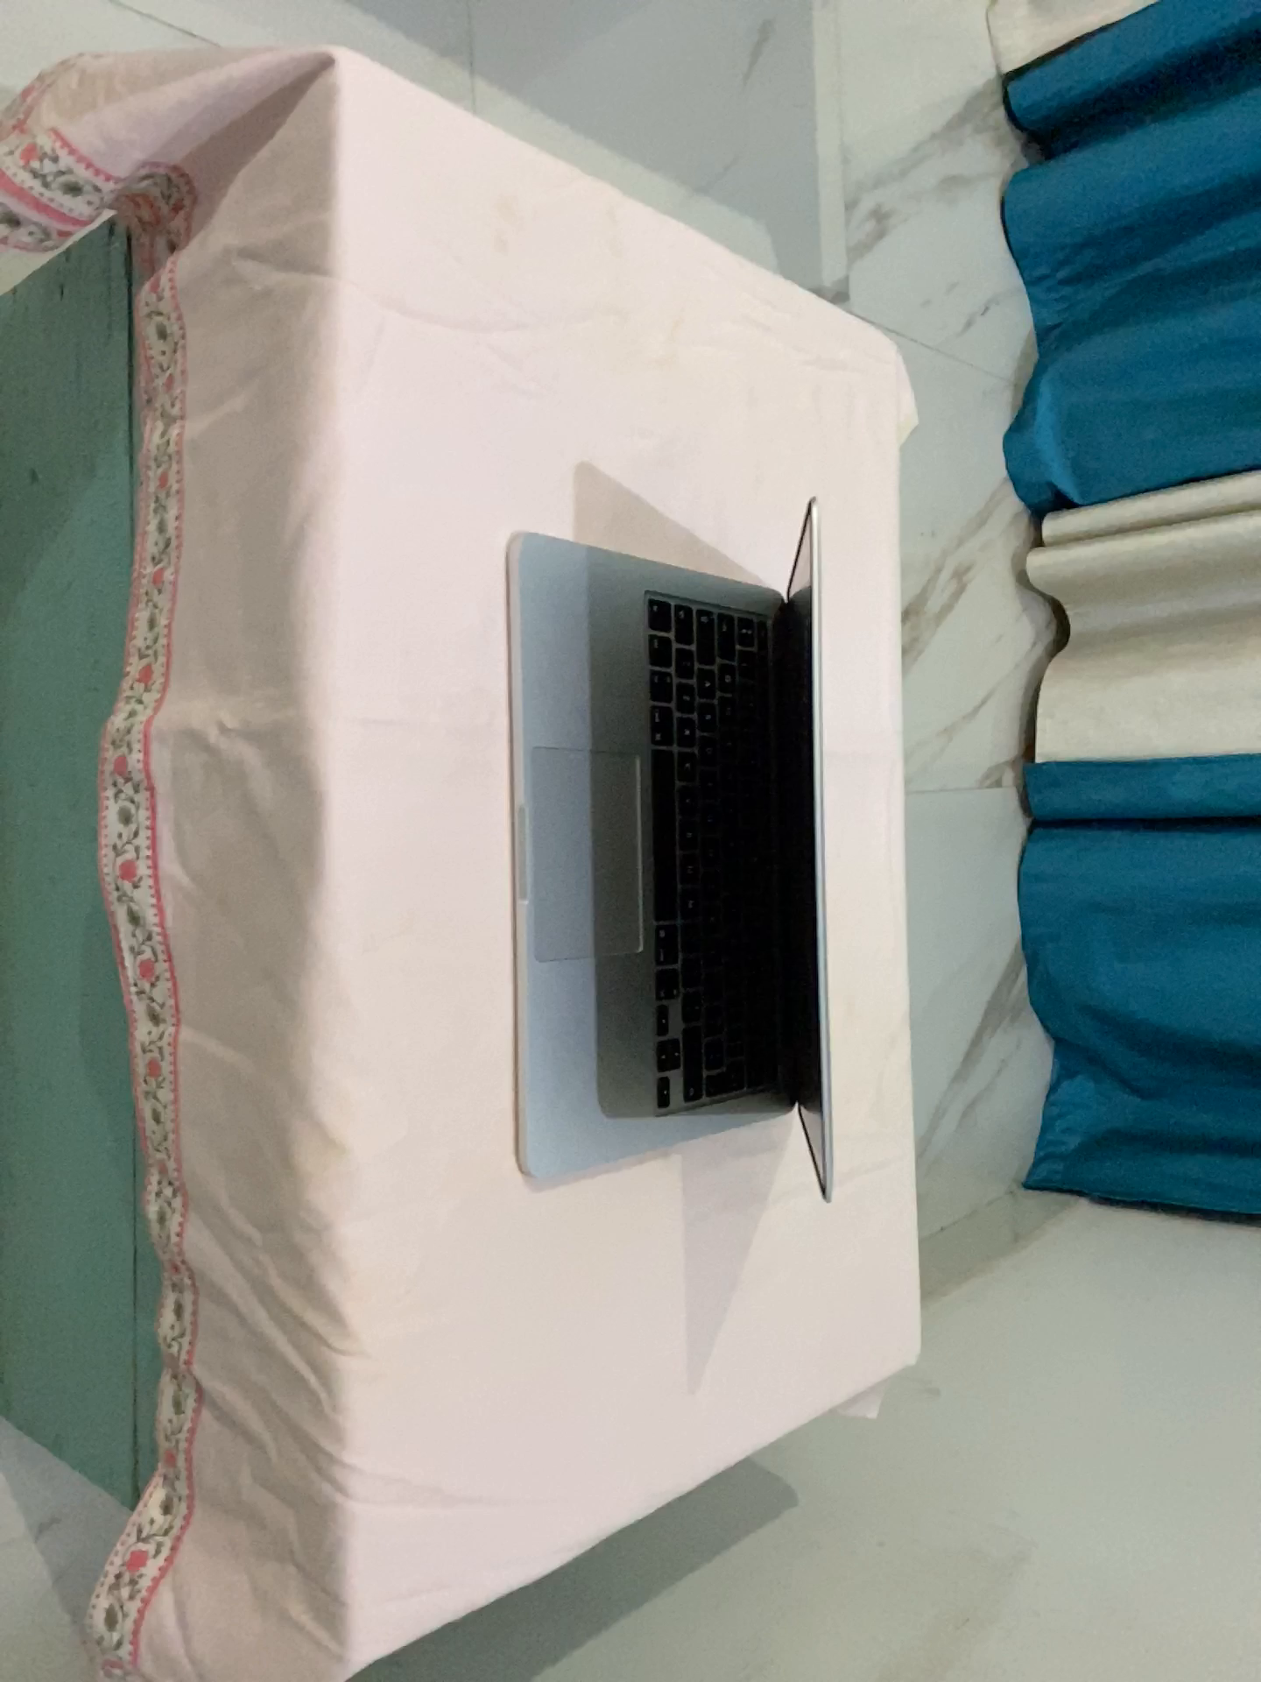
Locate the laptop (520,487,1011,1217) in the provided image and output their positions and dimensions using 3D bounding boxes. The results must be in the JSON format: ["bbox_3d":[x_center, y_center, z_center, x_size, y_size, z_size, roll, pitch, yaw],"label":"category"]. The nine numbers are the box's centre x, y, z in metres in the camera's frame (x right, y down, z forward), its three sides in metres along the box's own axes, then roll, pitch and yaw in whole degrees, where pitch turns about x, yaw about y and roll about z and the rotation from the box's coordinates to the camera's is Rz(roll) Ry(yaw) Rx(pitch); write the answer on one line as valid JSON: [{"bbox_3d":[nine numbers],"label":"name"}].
[{"bbox_3d":[0.073,0.006,0.641,0.209,0.138,0.296,-1,90,-46],"label":"laptop"}]
